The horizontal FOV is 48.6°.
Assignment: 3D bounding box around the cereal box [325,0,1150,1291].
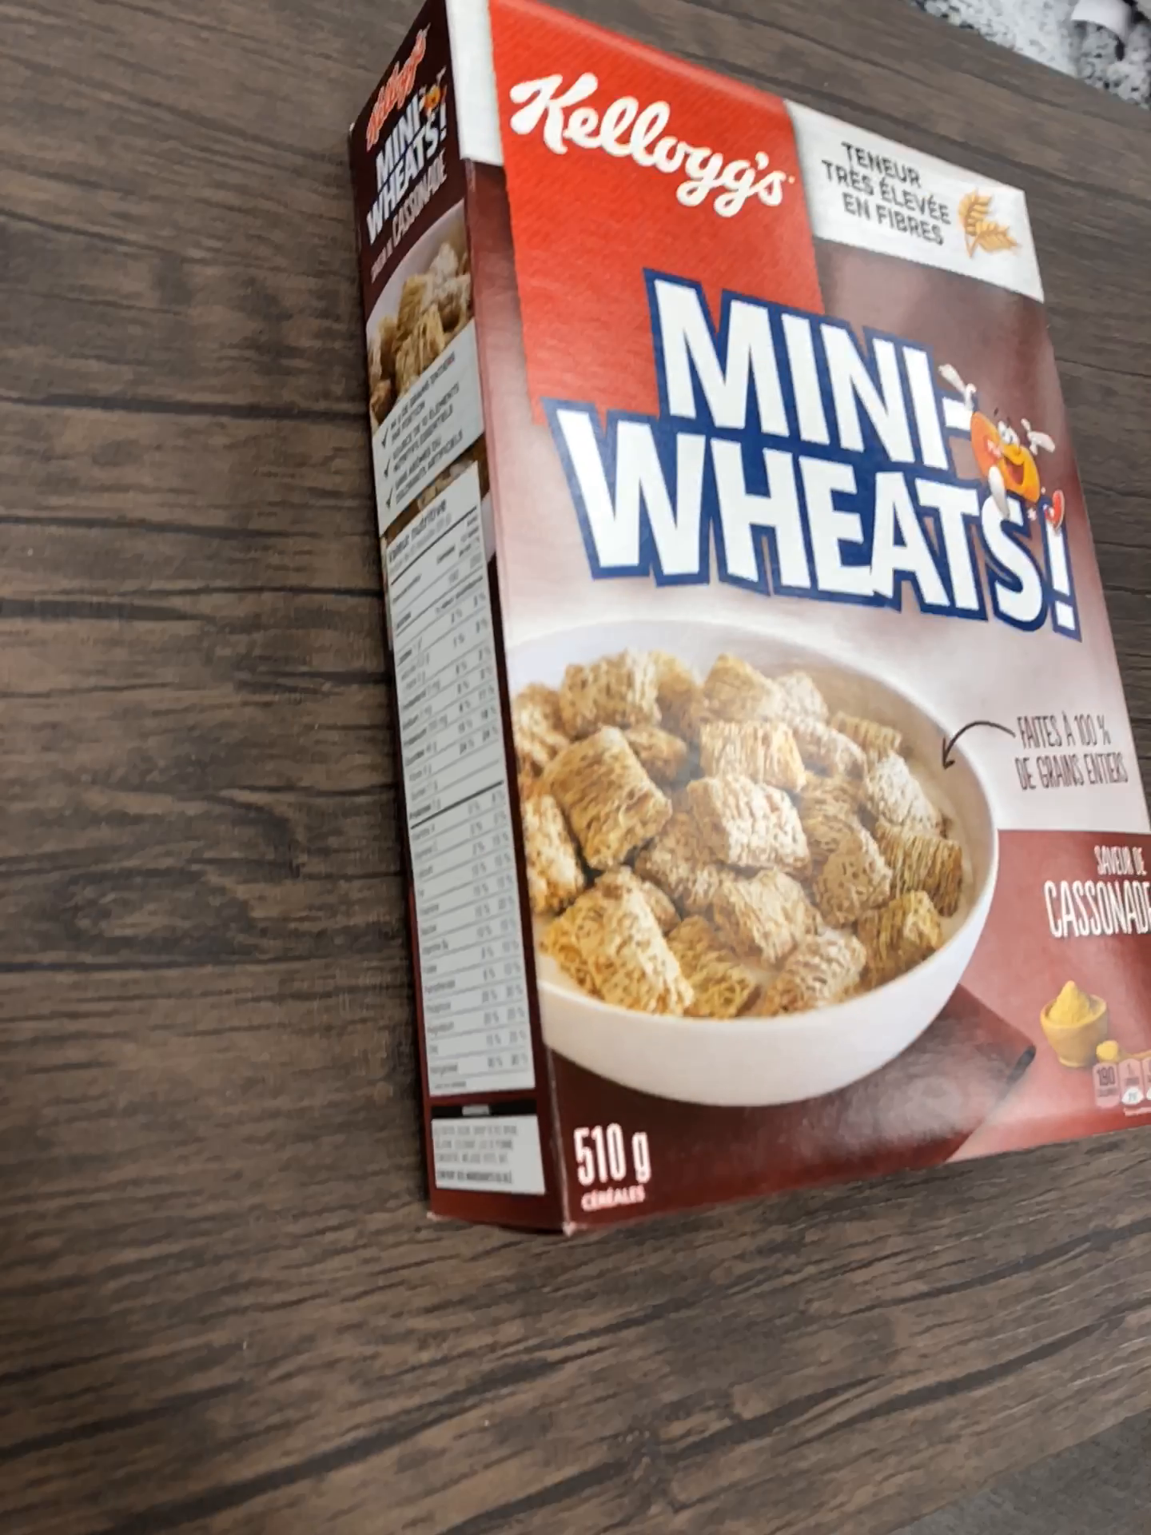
[{"bbox_3d":[0.057,-0.032,0.313,0.211,0.060,0.260,2,75,-32],"label":"cereal box"}]
